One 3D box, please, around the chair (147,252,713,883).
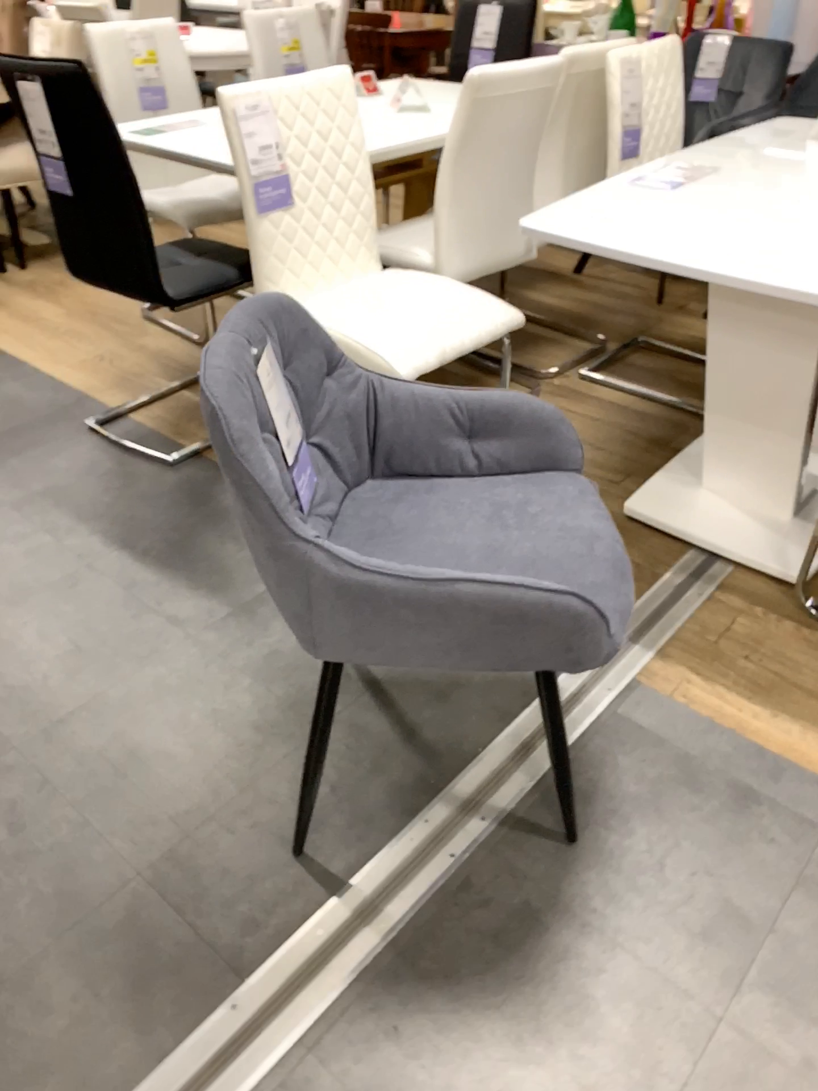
[{"bbox_3d":[0.043,0.025,1.328,0.590,0.776,0.563,3,36,5],"label":"chair"}]
